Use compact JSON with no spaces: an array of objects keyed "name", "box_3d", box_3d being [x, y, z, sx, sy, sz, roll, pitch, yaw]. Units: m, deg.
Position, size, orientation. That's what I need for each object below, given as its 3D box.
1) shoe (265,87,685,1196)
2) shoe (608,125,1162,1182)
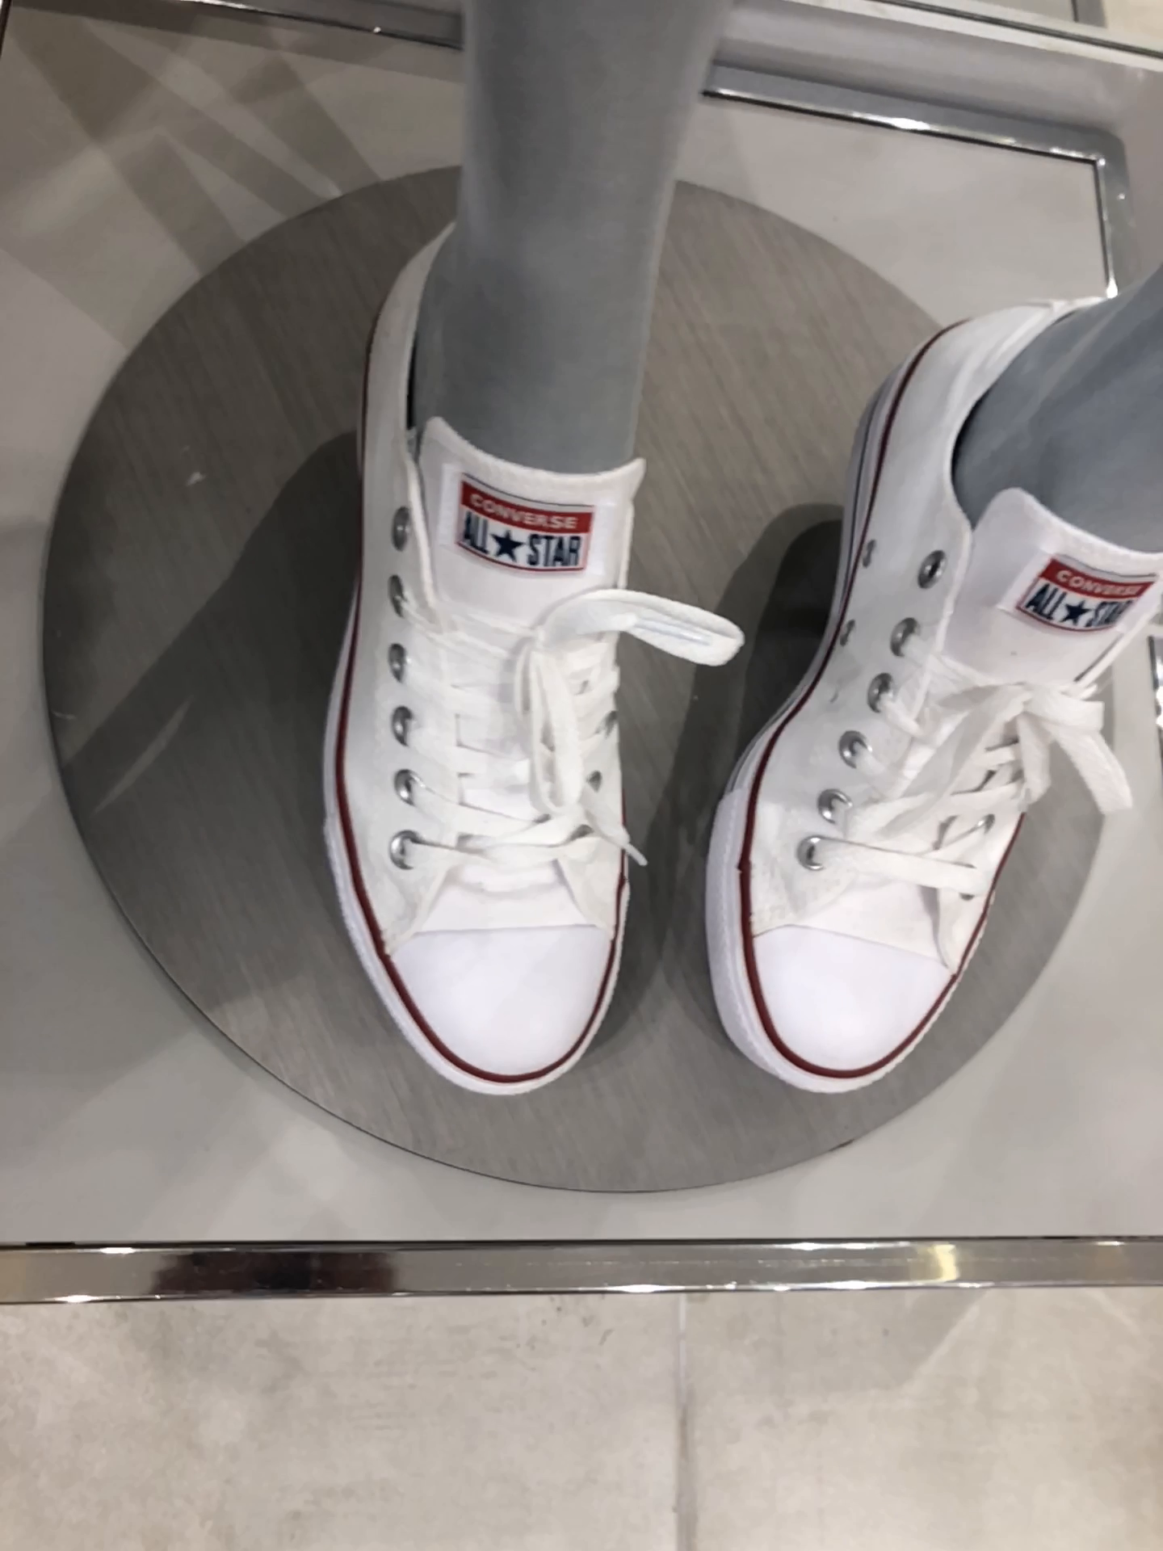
[{"name":"shoe","box_3d":[-0.035,-0.034,0.370,0.100,0.090,0.270,-1,90,-12]},{"name":"shoe","box_3d":[0.097,-0.033,0.408,0.110,0.090,0.280,12,87,-9]}]
